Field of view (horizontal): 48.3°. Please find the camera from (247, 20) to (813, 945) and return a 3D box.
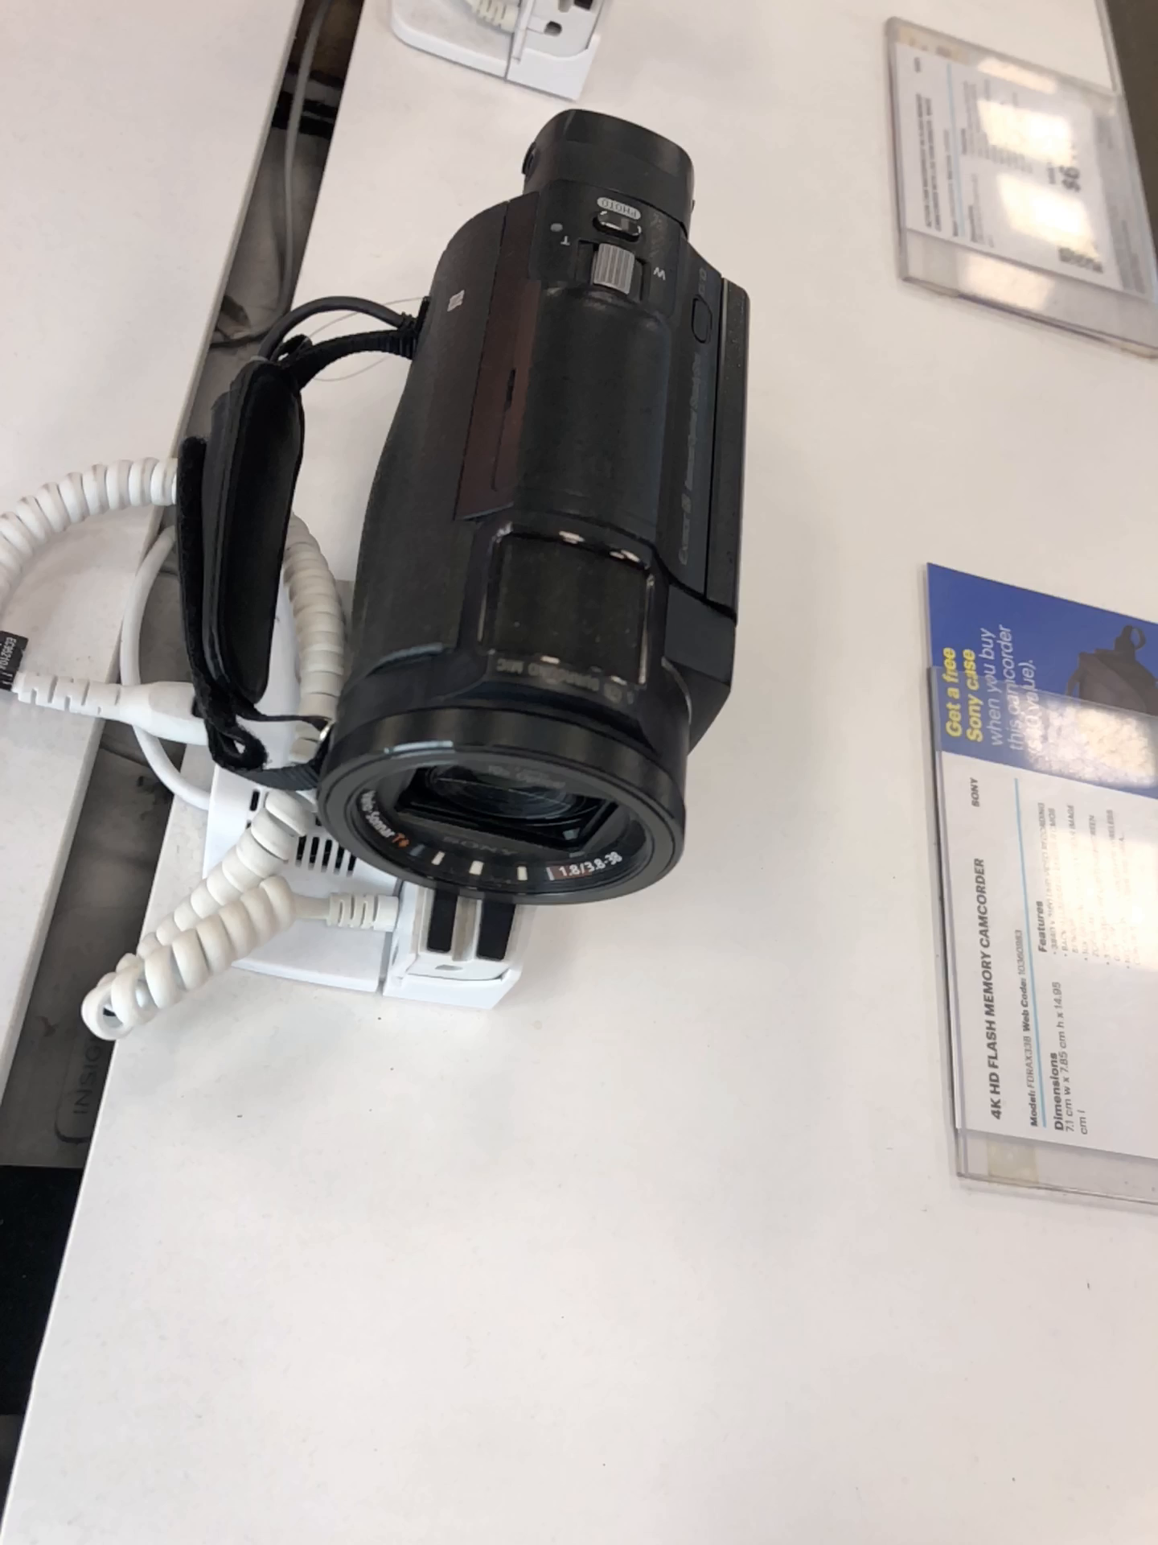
[{"bbox_3d":[-0.007,-0.055,0.252,0.080,0.070,0.150,12,62,-13],"label":"camera"}]
